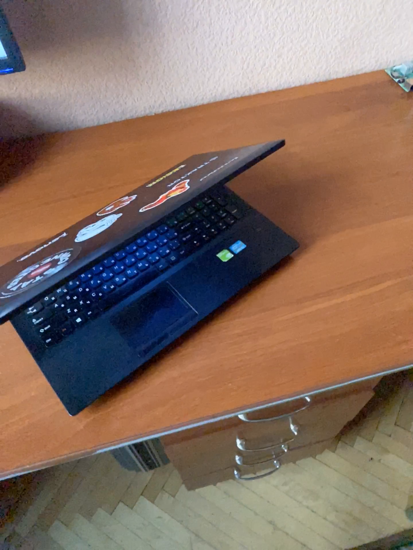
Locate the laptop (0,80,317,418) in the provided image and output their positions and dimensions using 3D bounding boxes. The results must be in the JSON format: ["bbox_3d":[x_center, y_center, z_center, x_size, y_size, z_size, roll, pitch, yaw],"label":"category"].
[{"bbox_3d":[-0.093,-0.059,0.549,0.377,0.149,0.256,-36,61,-20],"label":"laptop"}]
